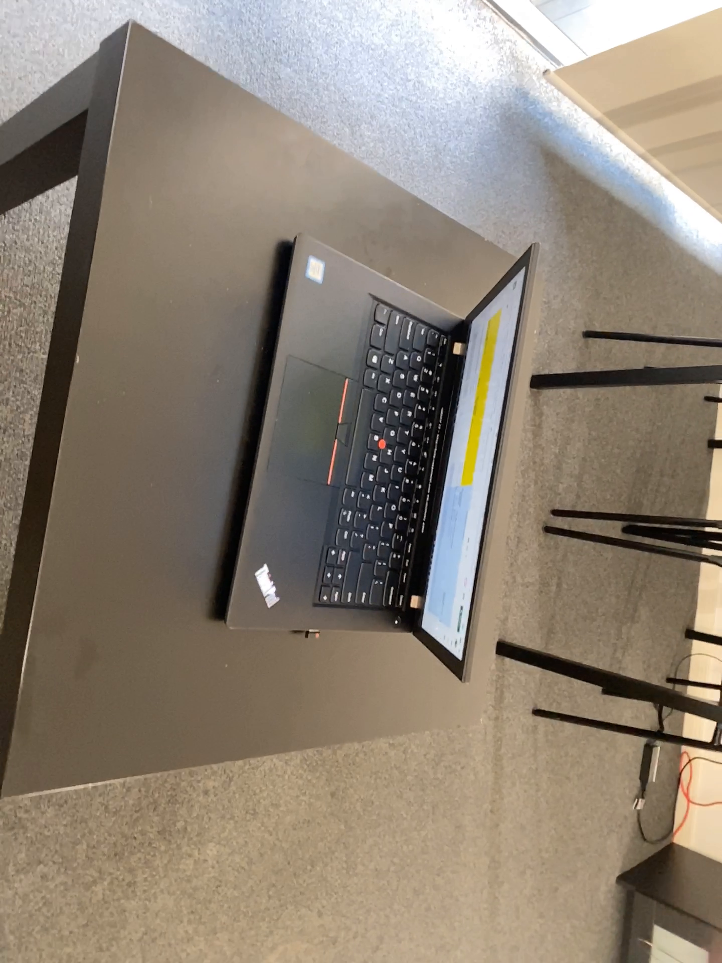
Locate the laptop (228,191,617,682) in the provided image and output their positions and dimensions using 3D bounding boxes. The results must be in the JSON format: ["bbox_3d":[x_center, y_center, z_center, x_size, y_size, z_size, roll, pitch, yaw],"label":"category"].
[{"bbox_3d":[0.059,-0.022,0.624,0.224,0.165,0.331,12,86,-43],"label":"laptop"}]
